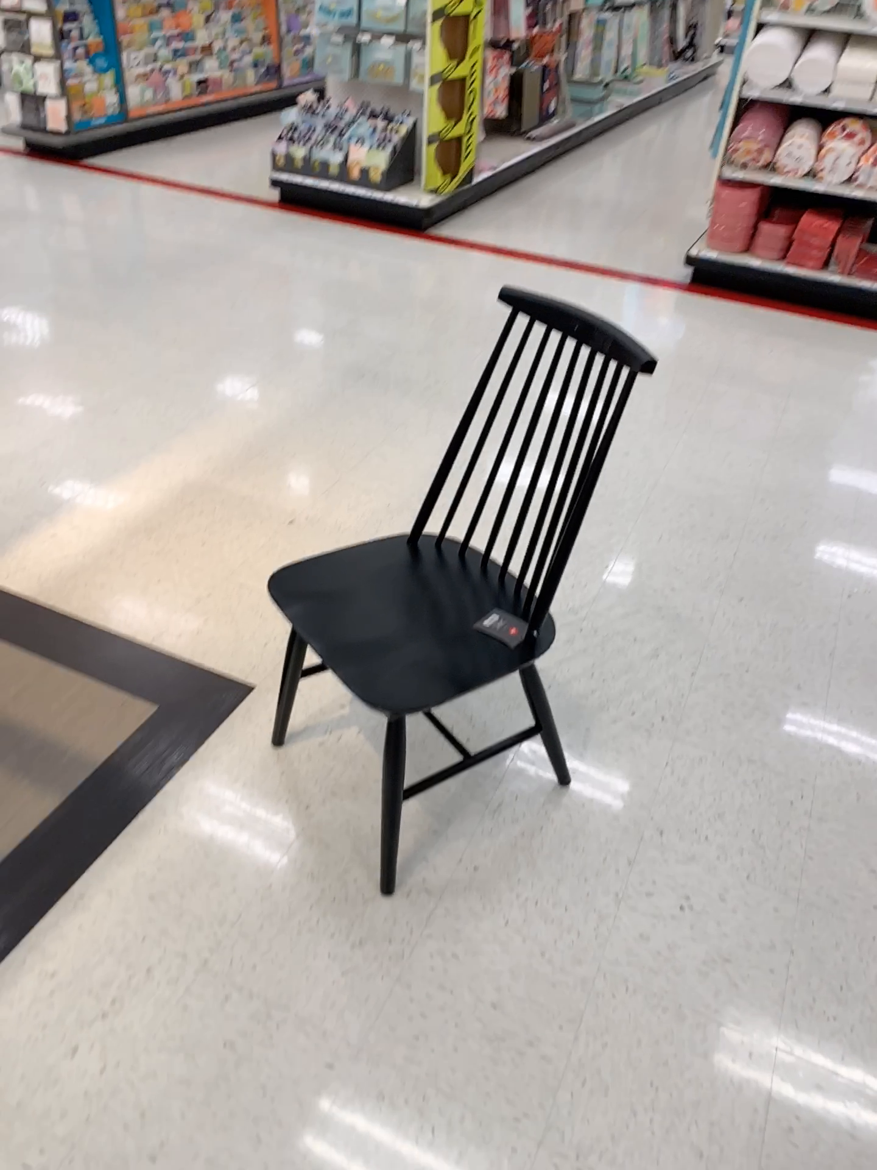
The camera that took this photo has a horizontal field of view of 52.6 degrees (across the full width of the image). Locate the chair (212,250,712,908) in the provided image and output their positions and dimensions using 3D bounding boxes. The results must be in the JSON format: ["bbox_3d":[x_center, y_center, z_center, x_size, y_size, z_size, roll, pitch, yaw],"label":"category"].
[{"bbox_3d":[-0.007,-0.017,1.617,0.551,0.945,0.532,-19,43,-28],"label":"chair"}]
